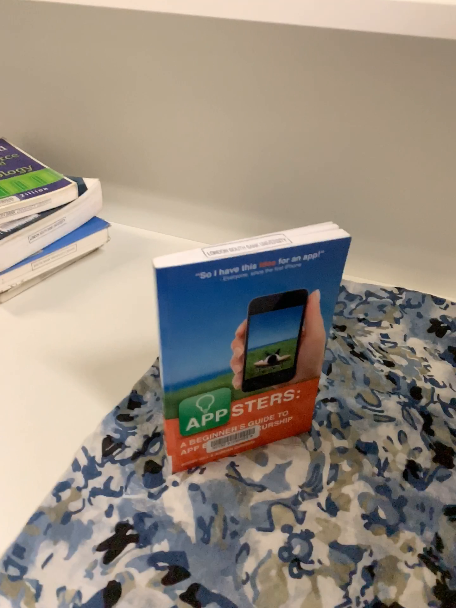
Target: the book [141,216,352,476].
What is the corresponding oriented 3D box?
[{"bbox_3d":[0.012,0.040,0.362,0.140,0.203,0.024,-13,39,-20],"label":"book"}]
